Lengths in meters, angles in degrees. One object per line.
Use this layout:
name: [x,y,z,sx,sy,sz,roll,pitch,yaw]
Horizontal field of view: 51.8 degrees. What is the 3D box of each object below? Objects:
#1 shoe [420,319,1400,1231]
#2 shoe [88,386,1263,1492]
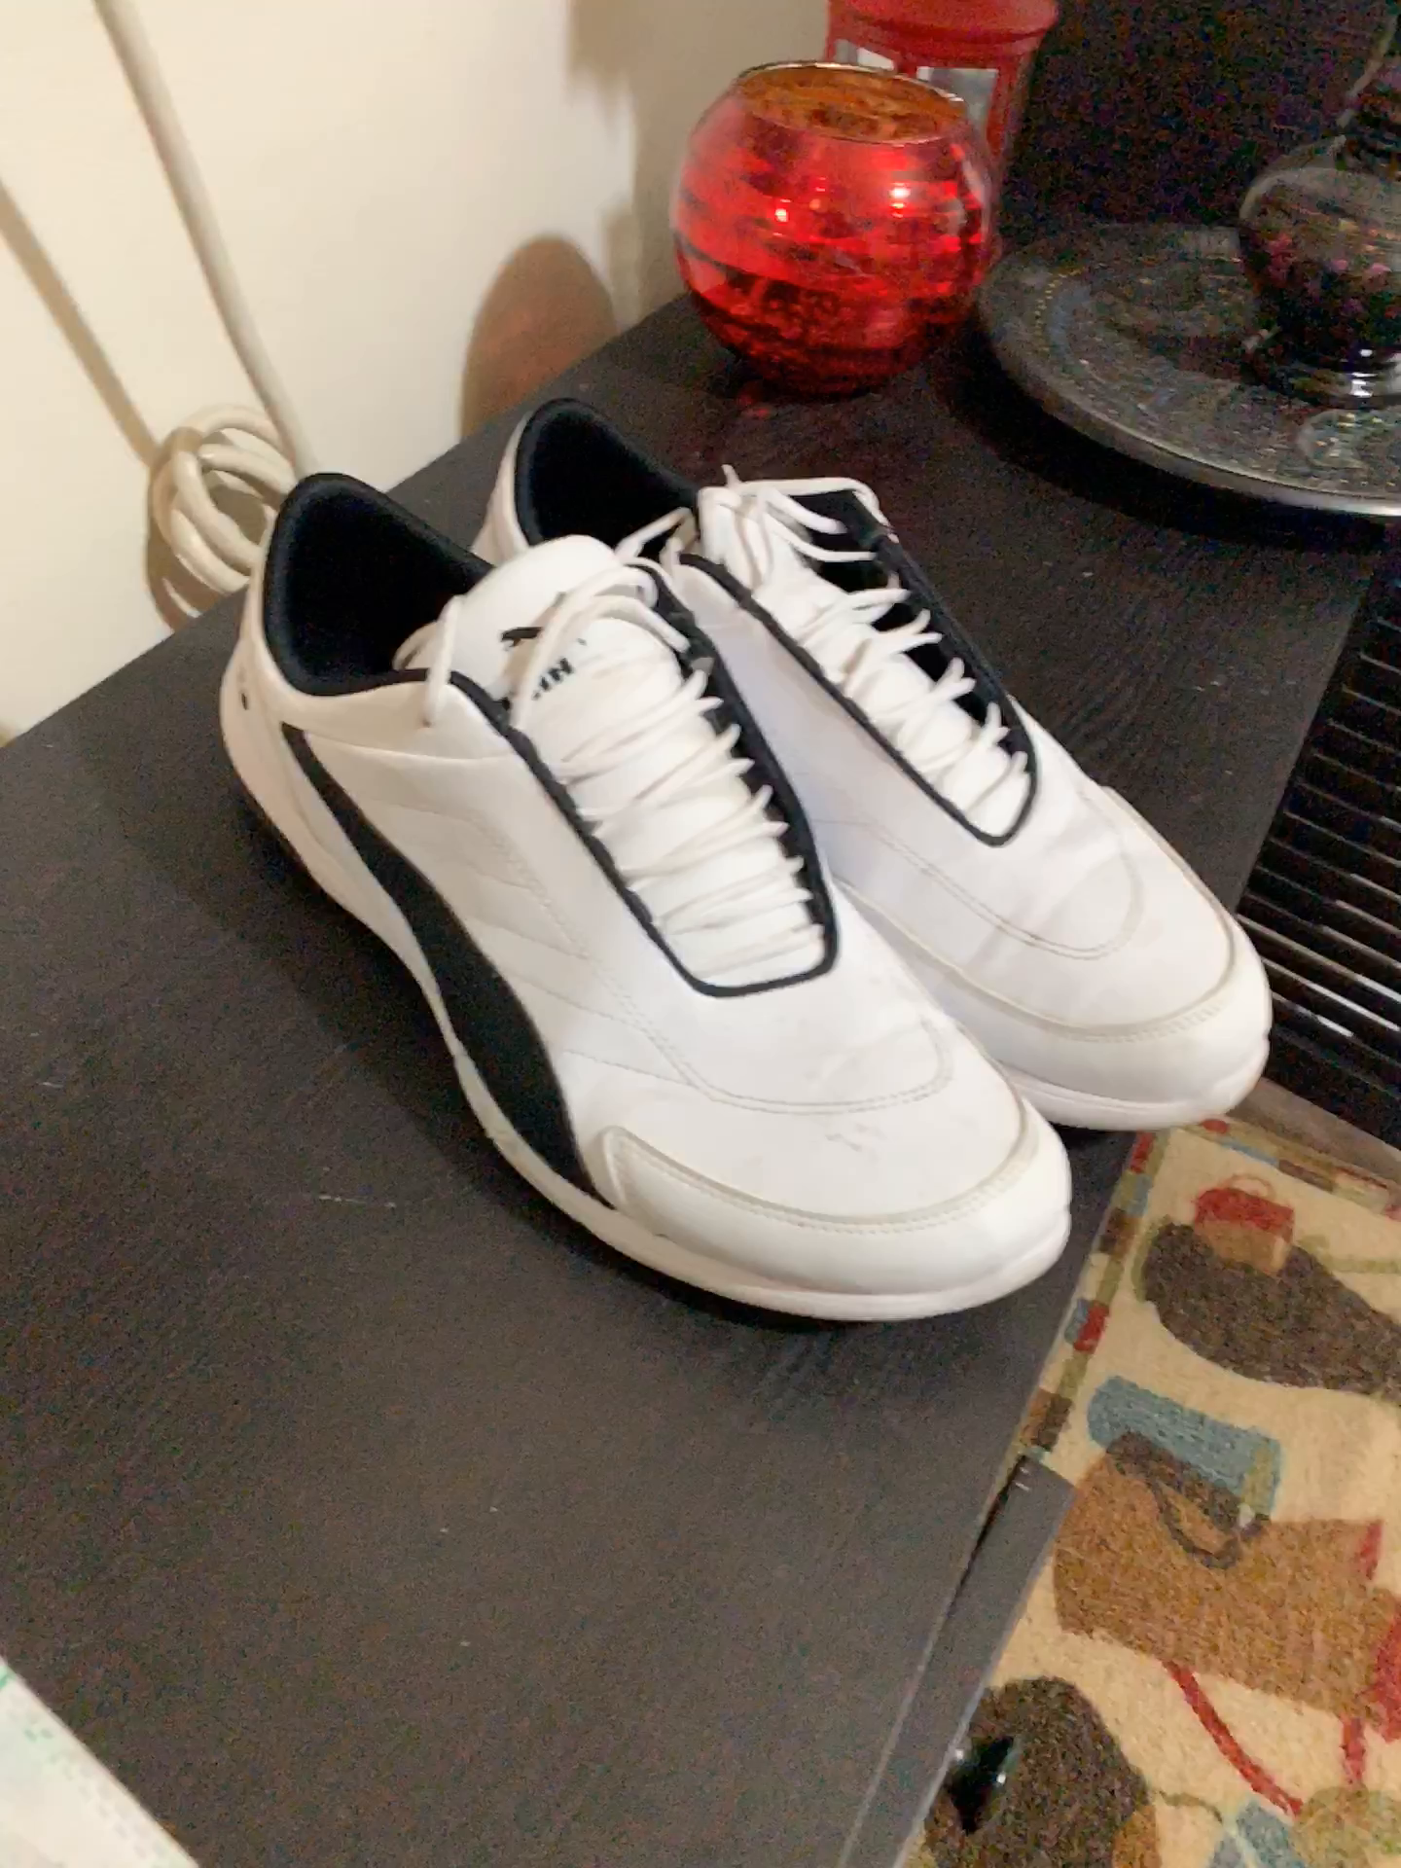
shoe: [0.045,-0.064,0.424,0.101,0.089,0.291,-31,60,-31]
shoe: [-0.023,-0.021,0.370,0.121,0.089,0.281,-31,60,-31]
